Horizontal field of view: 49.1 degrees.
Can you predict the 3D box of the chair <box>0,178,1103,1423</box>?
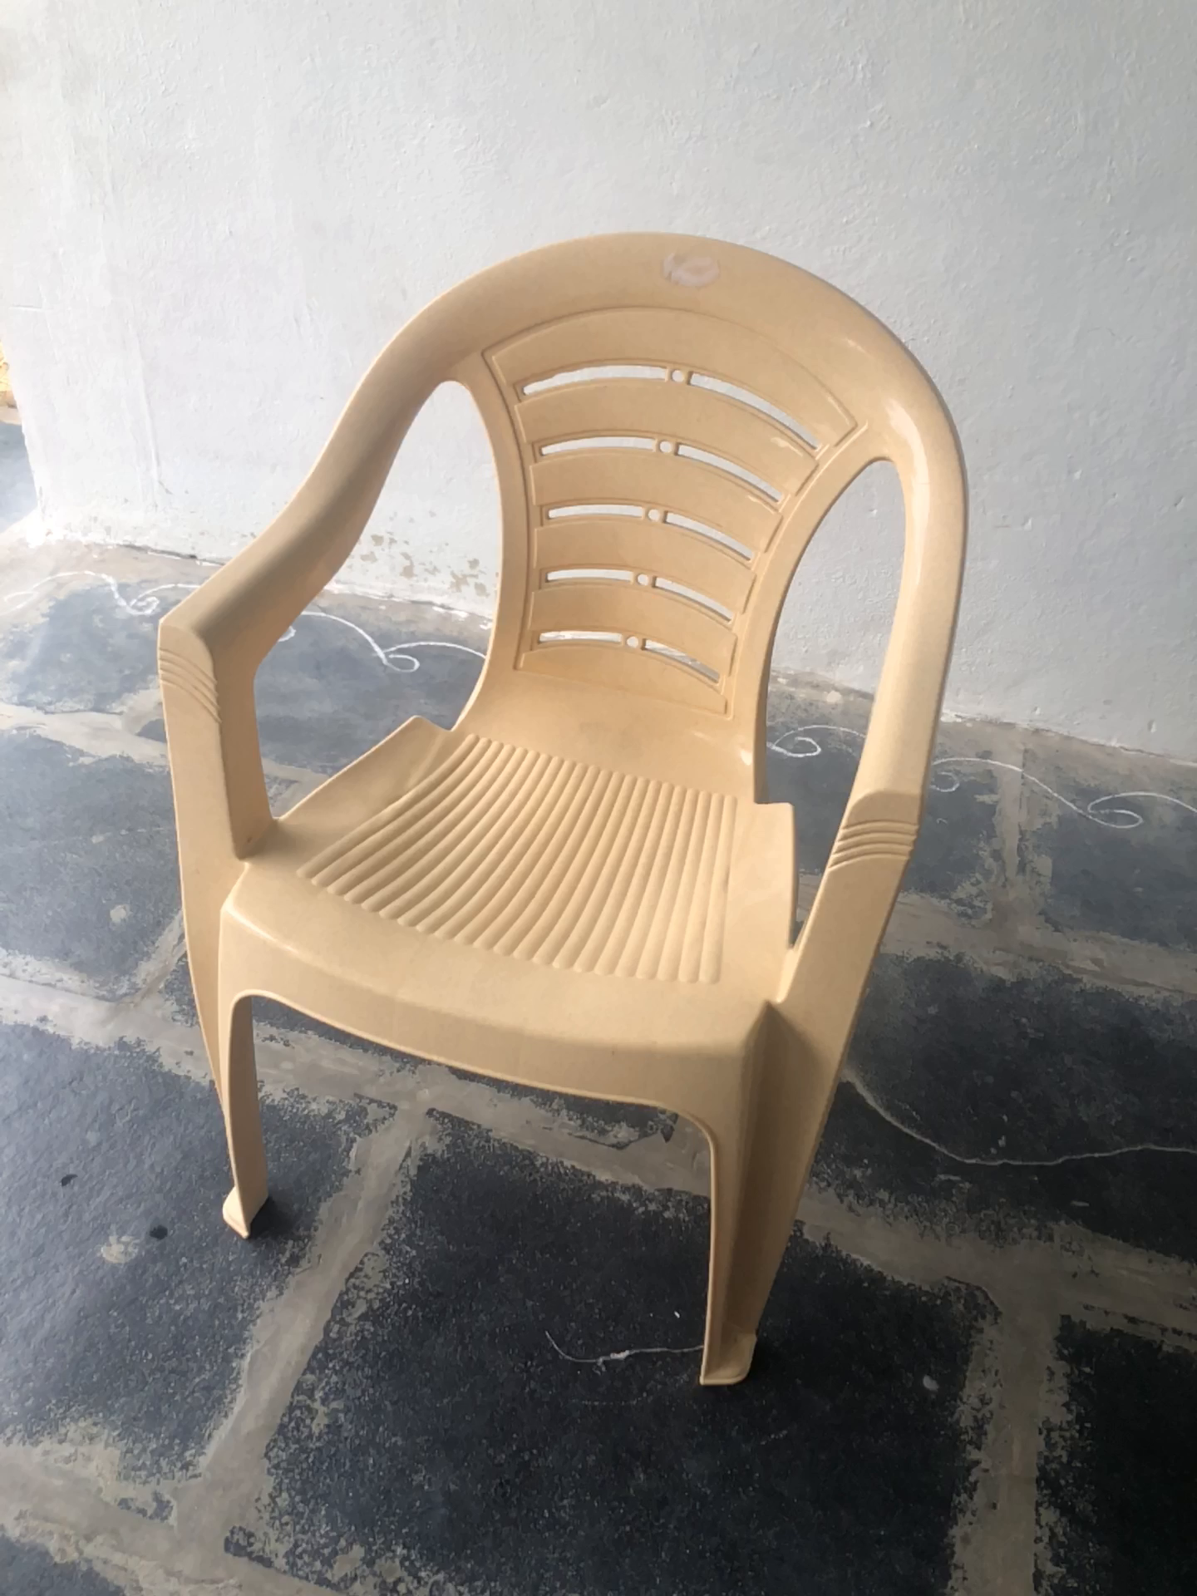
[{"bbox_3d":[-0.021,-0.025,1.137,0.620,0.736,0.654,10,39,7],"label":"chair"}]
